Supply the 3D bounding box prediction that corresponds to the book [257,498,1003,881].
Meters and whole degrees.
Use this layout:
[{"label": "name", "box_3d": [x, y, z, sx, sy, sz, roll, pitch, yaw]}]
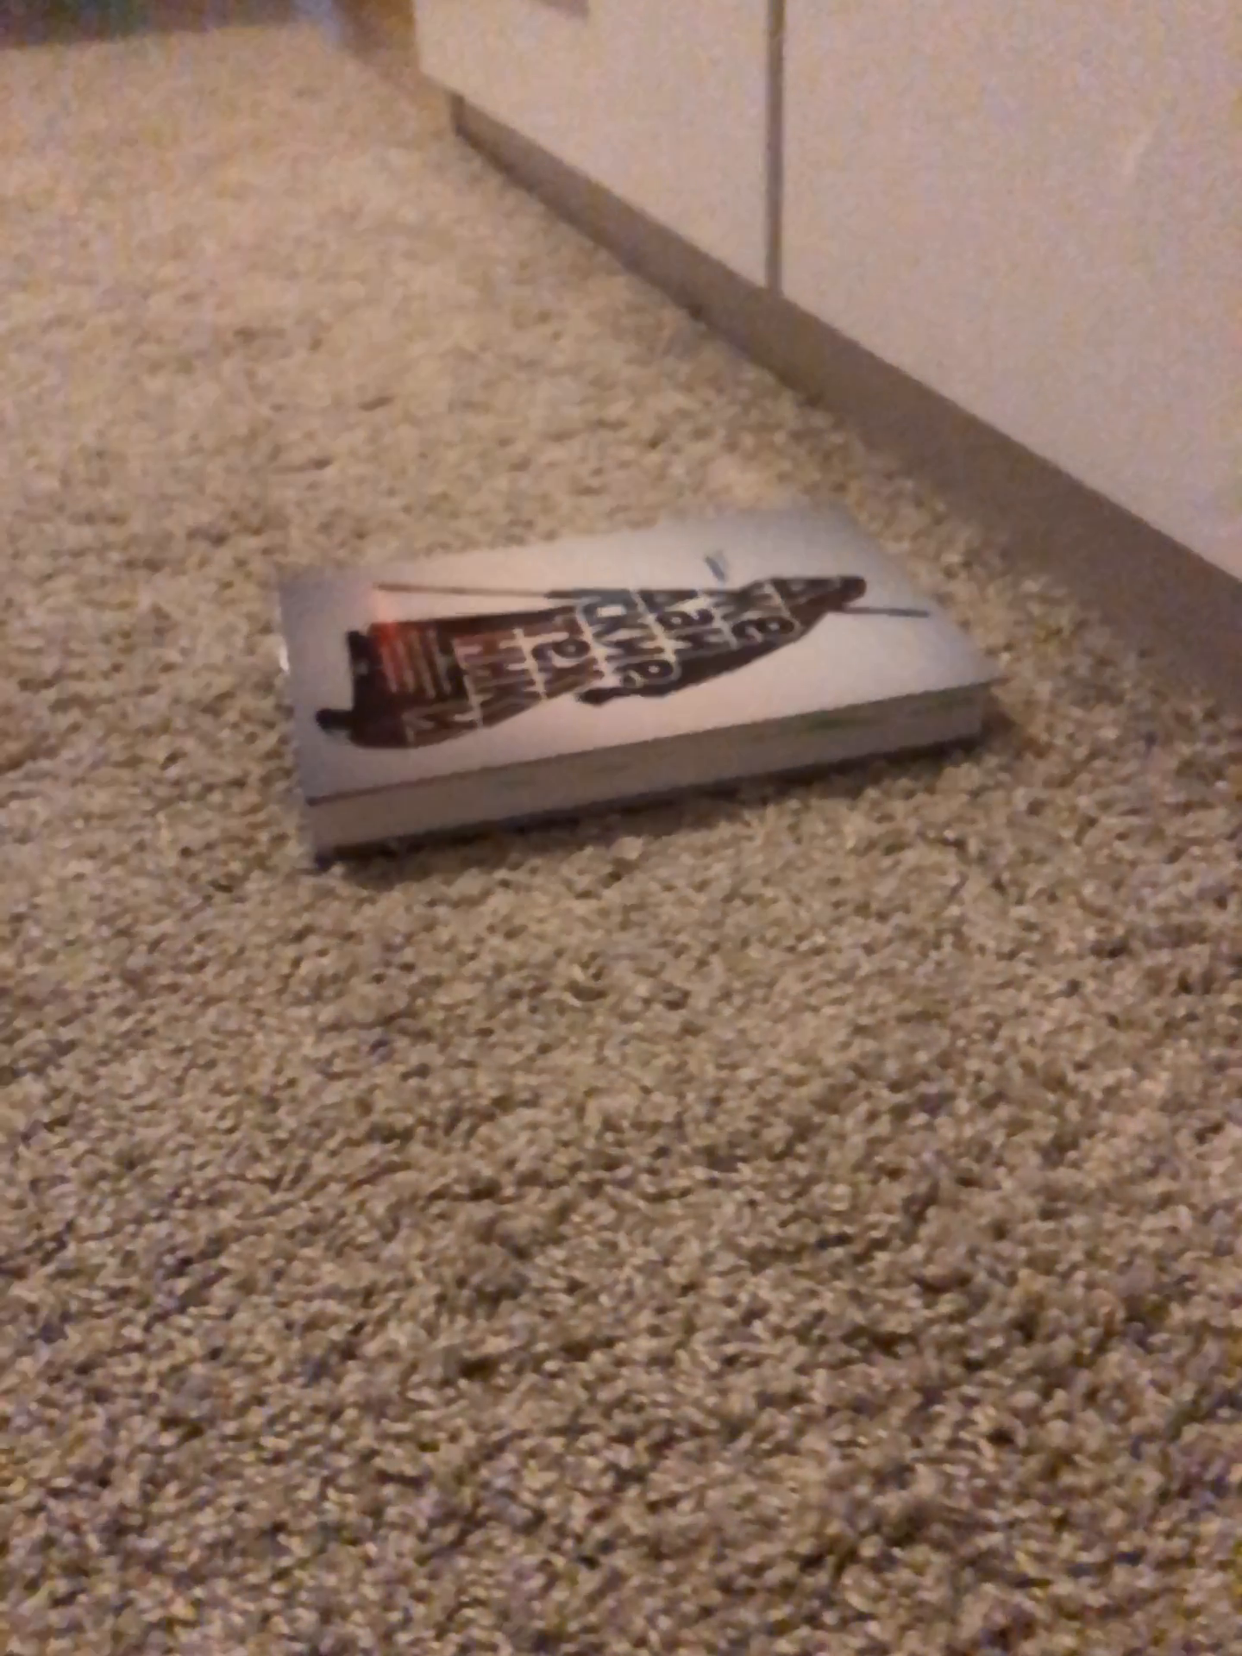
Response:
[{"label": "book", "box_3d": [-0.007, -0.057, 0.471, 0.220, 0.026, 0.151, -10, 37, -10]}]
